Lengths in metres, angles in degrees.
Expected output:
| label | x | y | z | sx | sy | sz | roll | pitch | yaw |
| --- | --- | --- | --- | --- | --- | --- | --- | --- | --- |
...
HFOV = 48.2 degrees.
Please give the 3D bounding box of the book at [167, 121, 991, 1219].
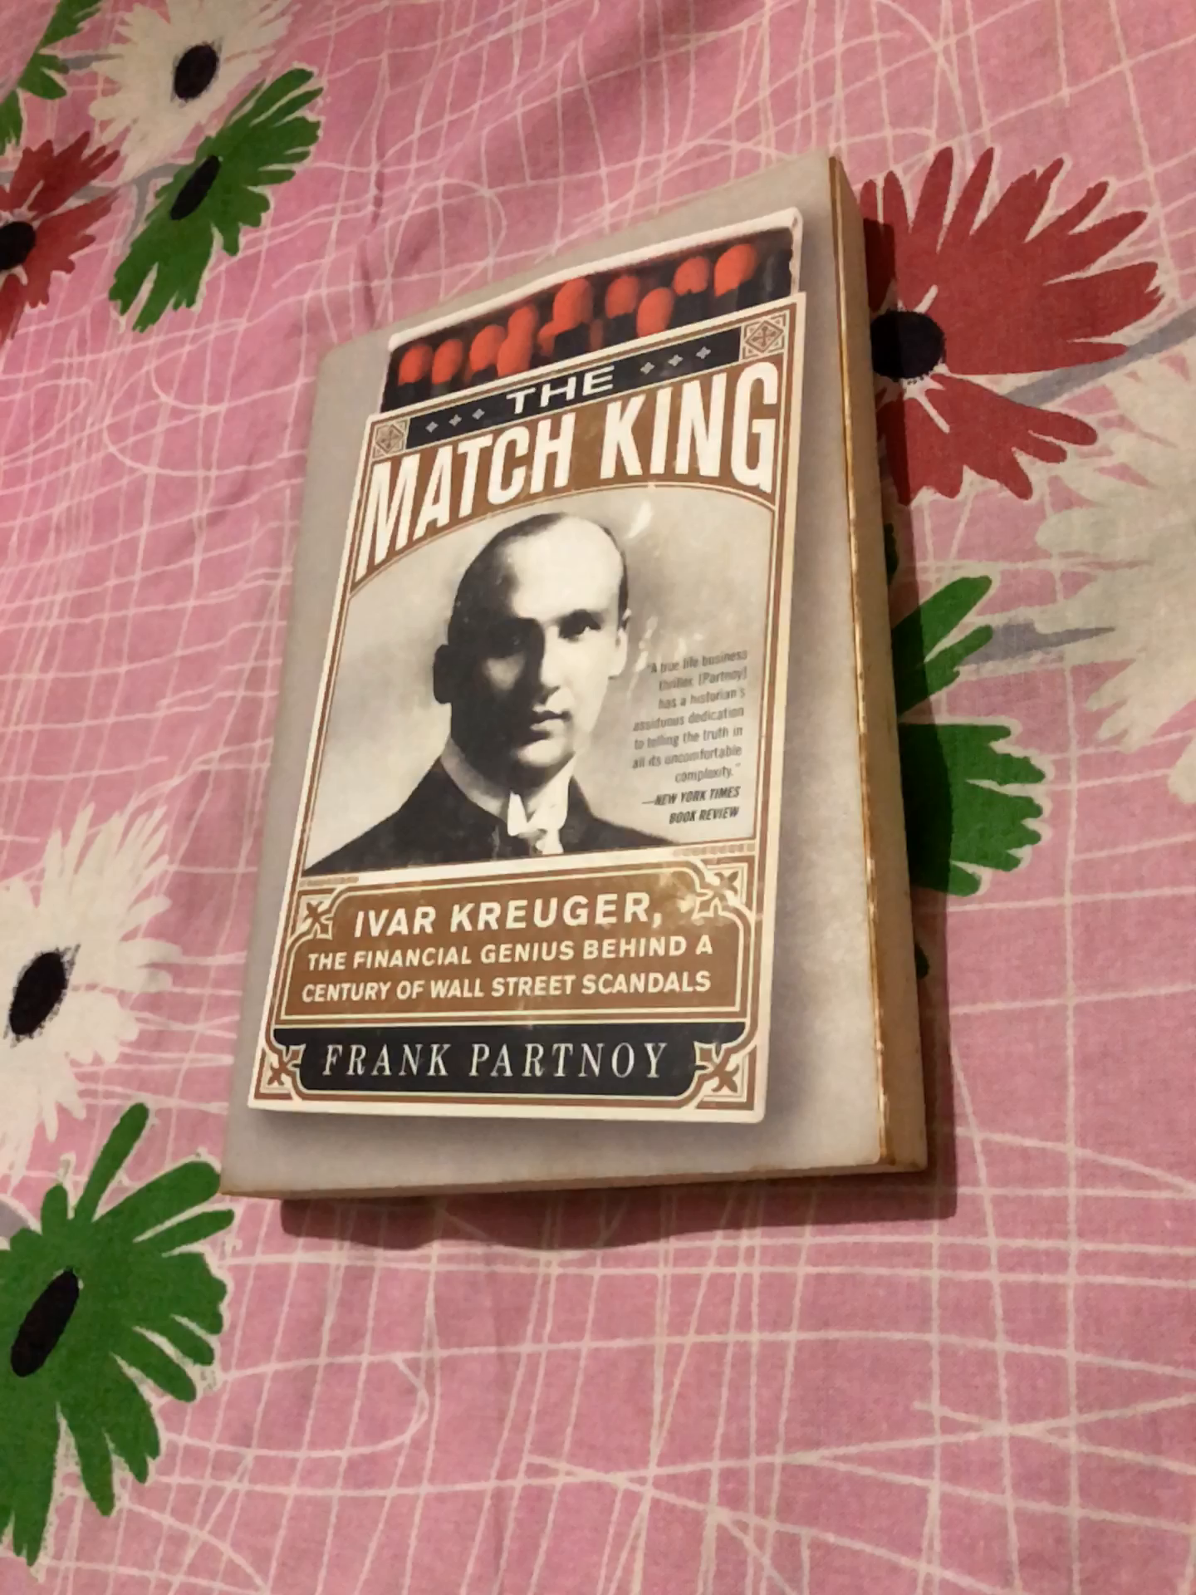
| label | x | y | z | sx | sy | sz | roll | pitch | yaw |
| --- | --- | --- | --- | --- | --- | --- | --- | --- | --- |
| book | -0.006 | -0.034 | 0.308 | 0.160 | 0.030 | 0.240 | -12 | 58 | 26 |
